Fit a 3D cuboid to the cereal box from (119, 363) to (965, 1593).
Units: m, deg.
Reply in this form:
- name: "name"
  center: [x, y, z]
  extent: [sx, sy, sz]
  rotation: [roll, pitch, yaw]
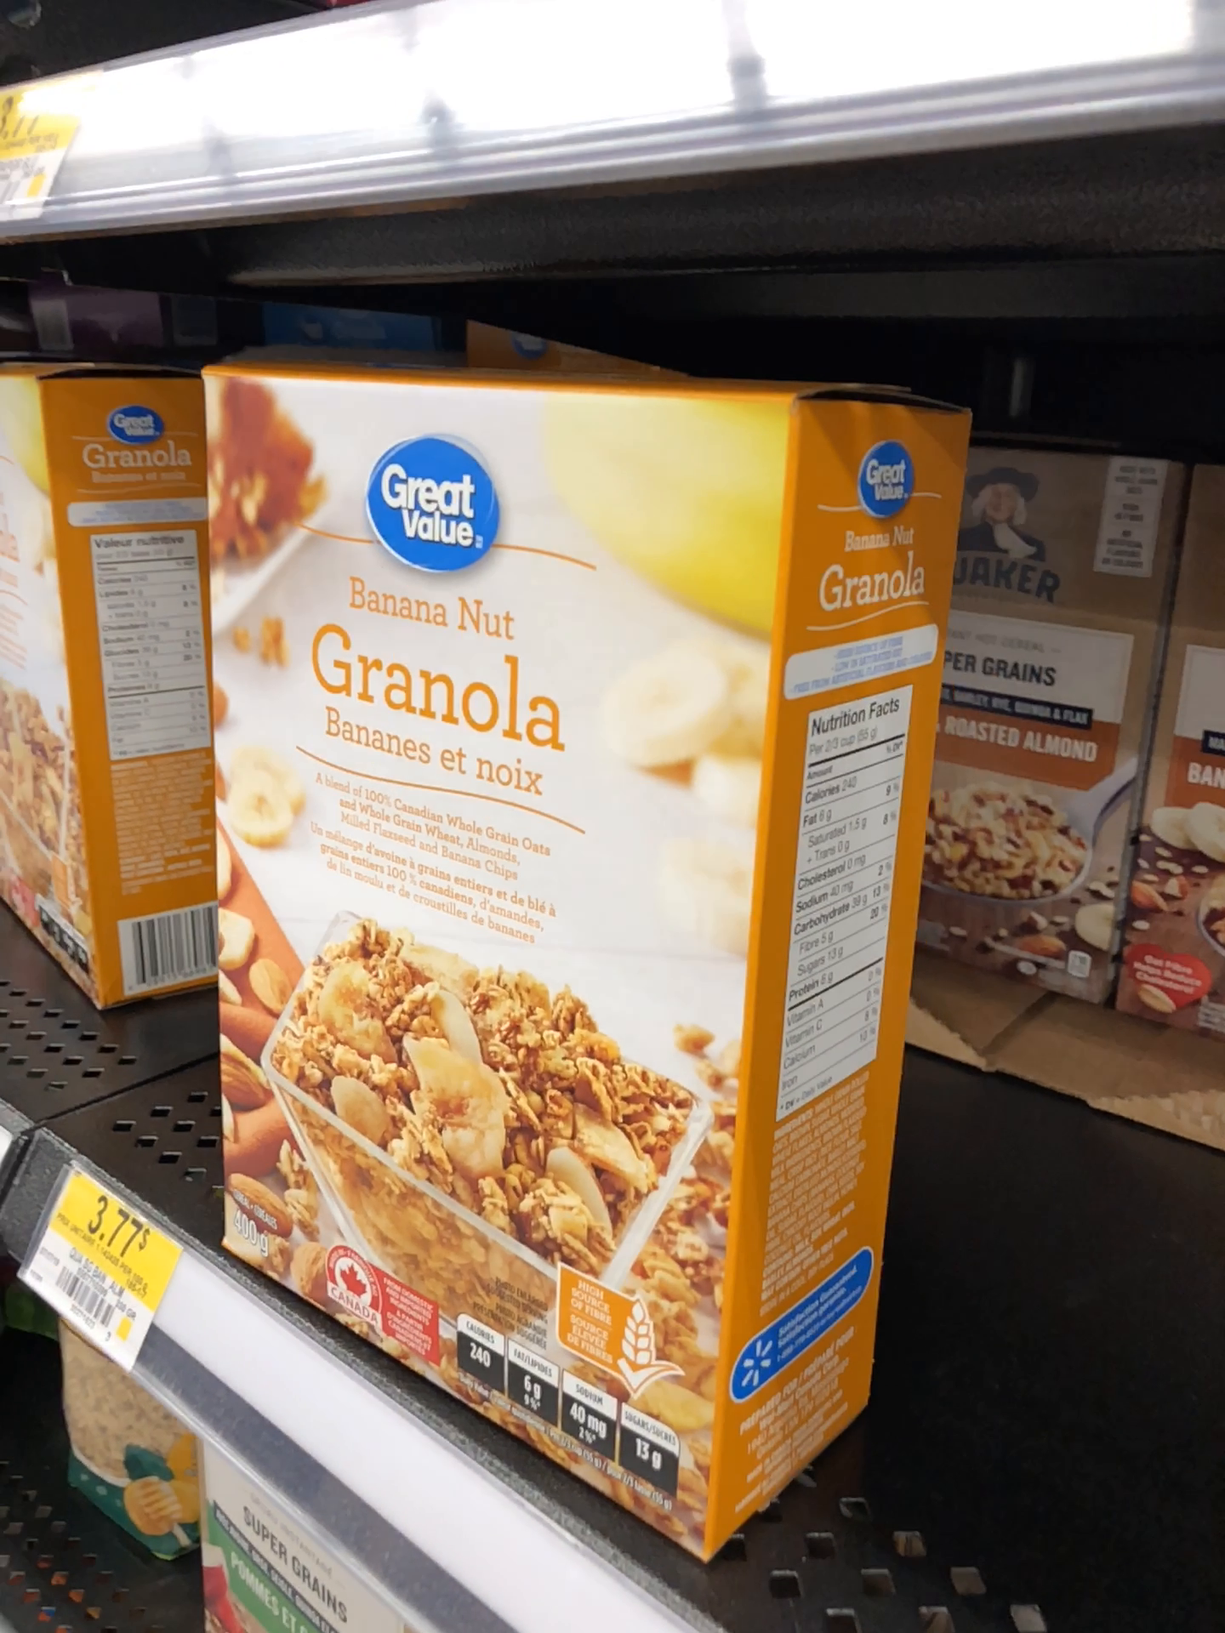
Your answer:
- name: "cereal box"
  center: [-0.024, 0.016, 0.285]
  extent: [0.160, 0.209, 0.060]
  rotation: [15, 22, 37]
